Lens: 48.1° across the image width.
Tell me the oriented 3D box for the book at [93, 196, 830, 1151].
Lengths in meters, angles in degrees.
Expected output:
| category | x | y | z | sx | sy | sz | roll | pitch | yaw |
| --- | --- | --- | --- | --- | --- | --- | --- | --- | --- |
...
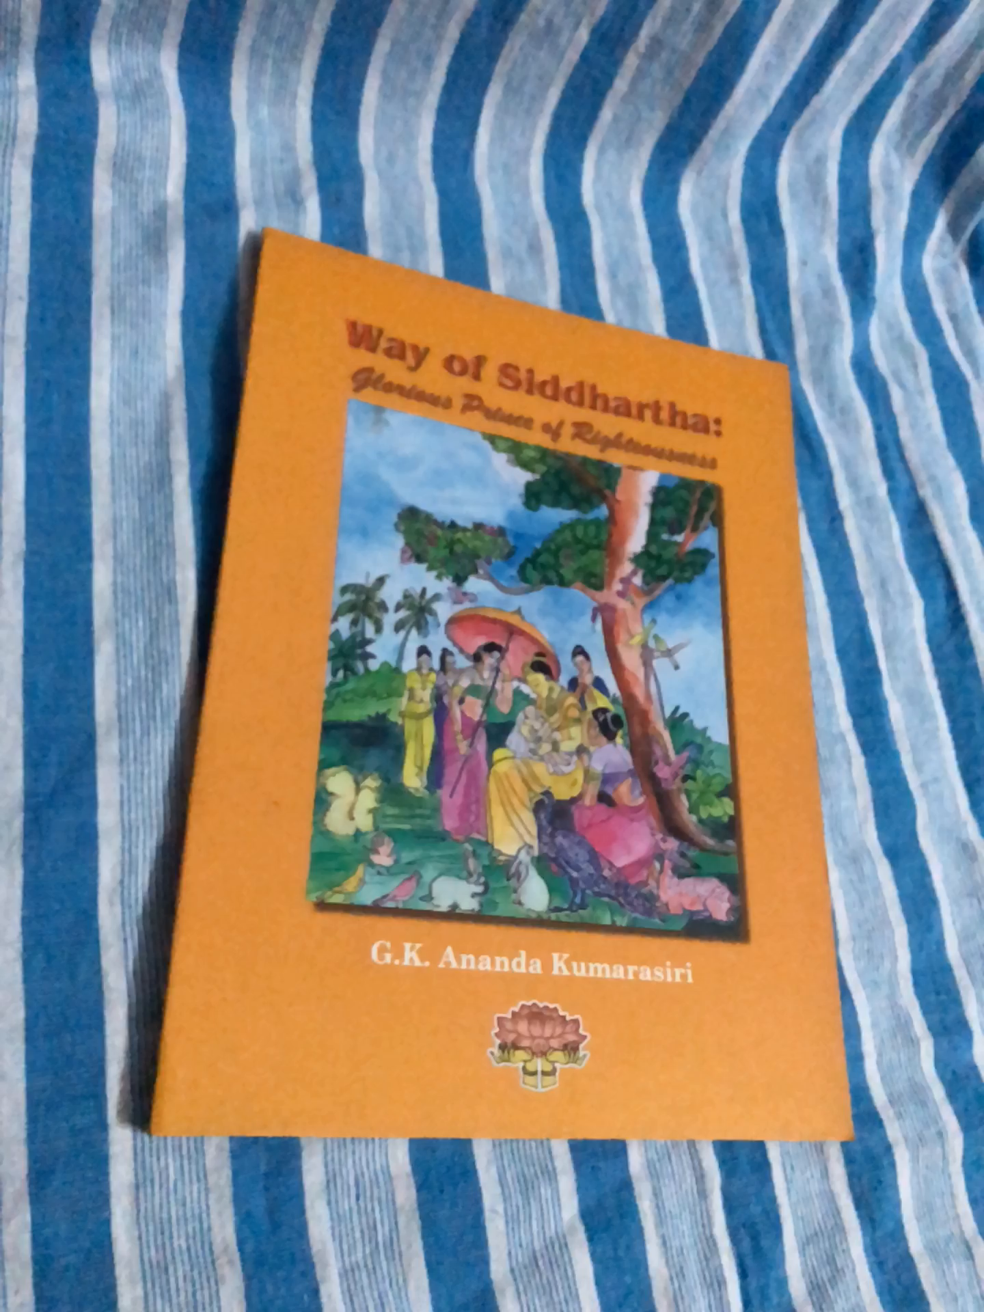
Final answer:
| category | x | y | z | sx | sy | sz | roll | pitch | yaw |
| --- | --- | --- | --- | --- | --- | --- | --- | --- | --- |
| book | 0.003 | 0.000 | 0.284 | 0.171 | 0.010 | 0.230 | 9 | 67 | -21 |
